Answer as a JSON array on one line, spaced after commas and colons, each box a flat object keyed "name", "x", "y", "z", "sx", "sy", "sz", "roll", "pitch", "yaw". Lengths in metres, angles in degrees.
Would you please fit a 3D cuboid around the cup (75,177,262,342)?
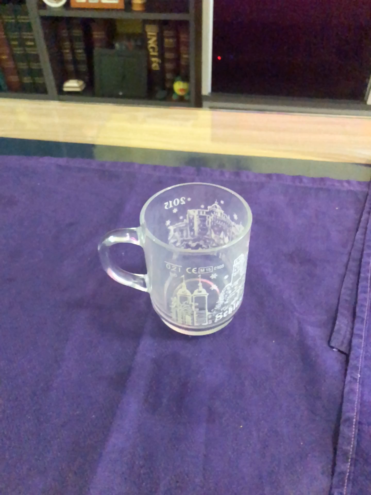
[{"name": "cup", "x": -0.006, "y": 0.007, "z": 0.274, "sx": 0.100, "sy": 0.080, "sz": 0.070, "roll": 1, "pitch": 41, "yaw": 4}]
